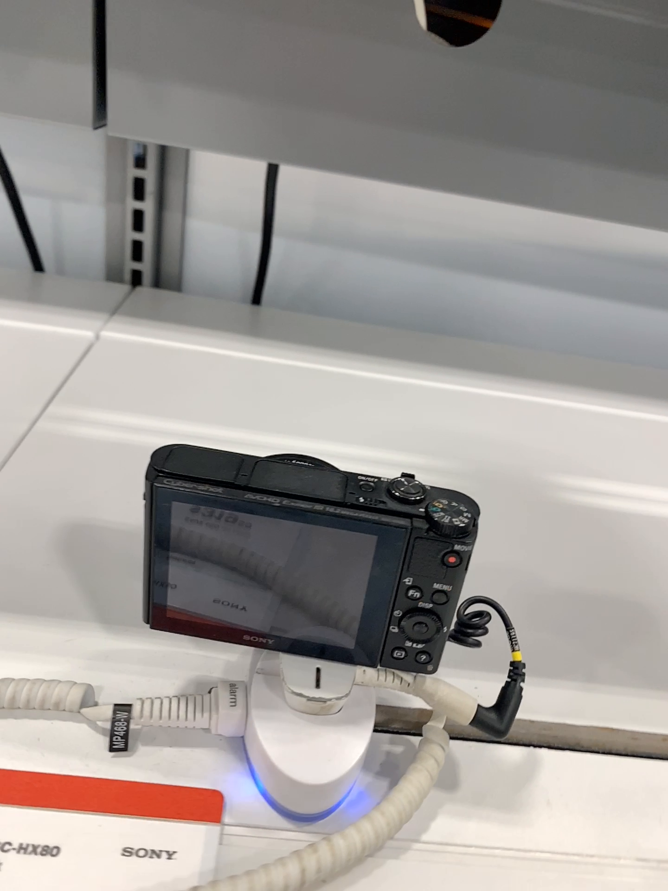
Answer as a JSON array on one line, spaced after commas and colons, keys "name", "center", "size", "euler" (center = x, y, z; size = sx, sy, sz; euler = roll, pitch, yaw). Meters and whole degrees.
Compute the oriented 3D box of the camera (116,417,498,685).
[{"name": "camera", "center": [-0.010, 0.033, 0.218], "size": [0.104, 0.052, 0.040], "euler": [11, 29, -2]}]
